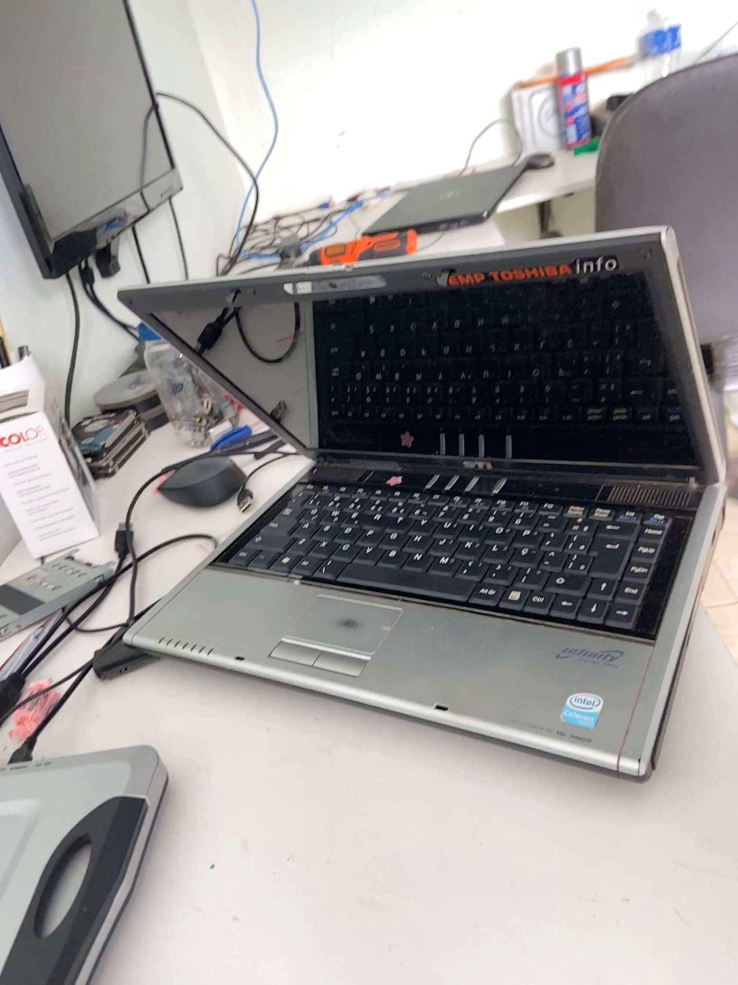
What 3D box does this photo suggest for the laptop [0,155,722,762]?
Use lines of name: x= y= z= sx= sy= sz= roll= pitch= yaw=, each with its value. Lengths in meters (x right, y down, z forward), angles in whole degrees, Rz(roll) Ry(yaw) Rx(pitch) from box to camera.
laptop: x=0.007 y=-0.041 z=0.456 sx=0.338 sy=0.211 sz=0.237 roll=4 pitch=33 yaw=32
